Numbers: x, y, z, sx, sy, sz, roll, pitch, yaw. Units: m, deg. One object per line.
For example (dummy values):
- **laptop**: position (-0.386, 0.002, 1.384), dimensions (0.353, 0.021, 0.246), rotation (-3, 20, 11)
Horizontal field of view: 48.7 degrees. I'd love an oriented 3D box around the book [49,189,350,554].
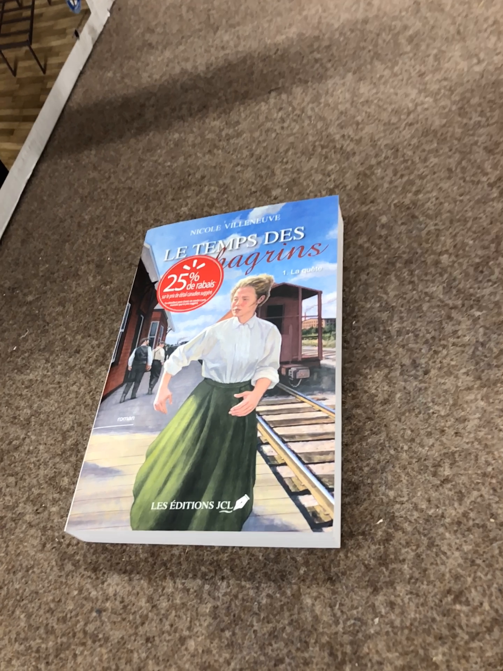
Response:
- **book**: position (-0.020, 0.012, 0.344), dimensions (0.155, 0.030, 0.225), rotation (-6, 55, 19)
